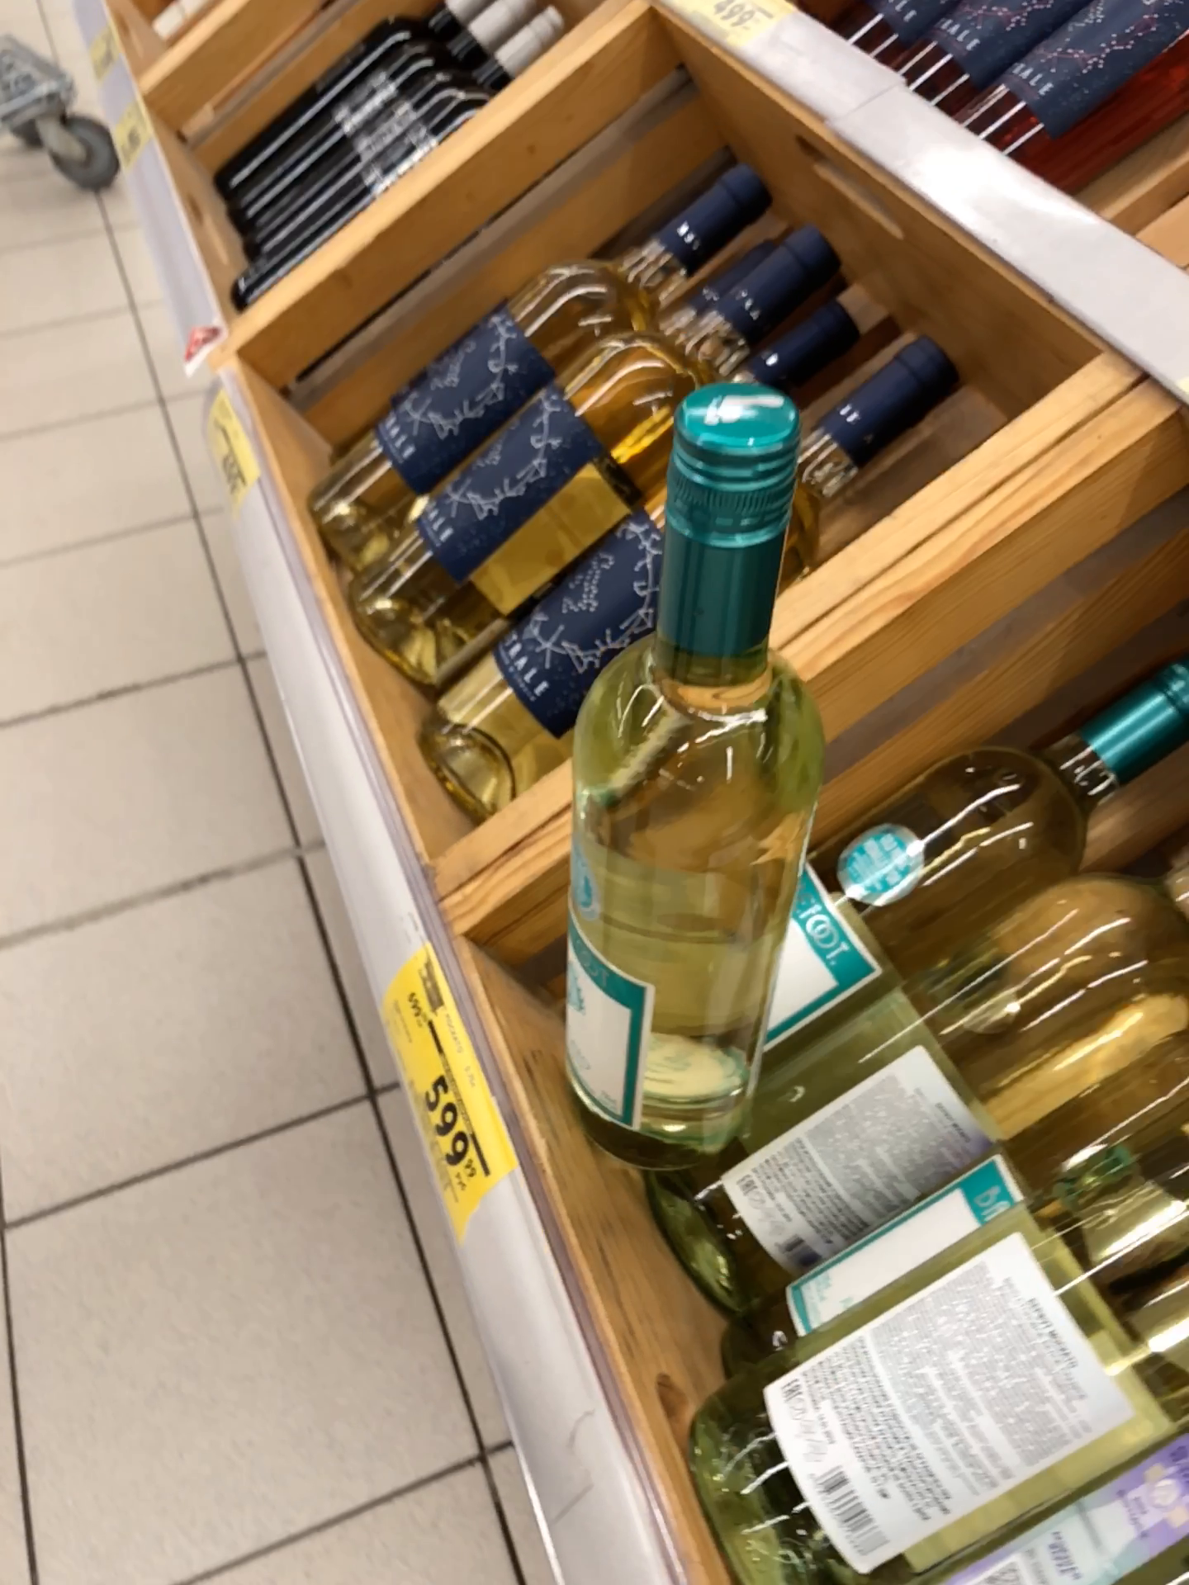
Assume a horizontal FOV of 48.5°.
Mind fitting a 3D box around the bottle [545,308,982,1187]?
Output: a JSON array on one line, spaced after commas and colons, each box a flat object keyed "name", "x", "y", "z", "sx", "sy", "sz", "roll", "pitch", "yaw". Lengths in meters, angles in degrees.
[{"name": "bottle", "x": 0.033, "y": 0.009, "z": 0.409, "sx": 0.080, "sy": 0.288, "sz": 0.080, "roll": 1, "pitch": 46, "yaw": -1}]
